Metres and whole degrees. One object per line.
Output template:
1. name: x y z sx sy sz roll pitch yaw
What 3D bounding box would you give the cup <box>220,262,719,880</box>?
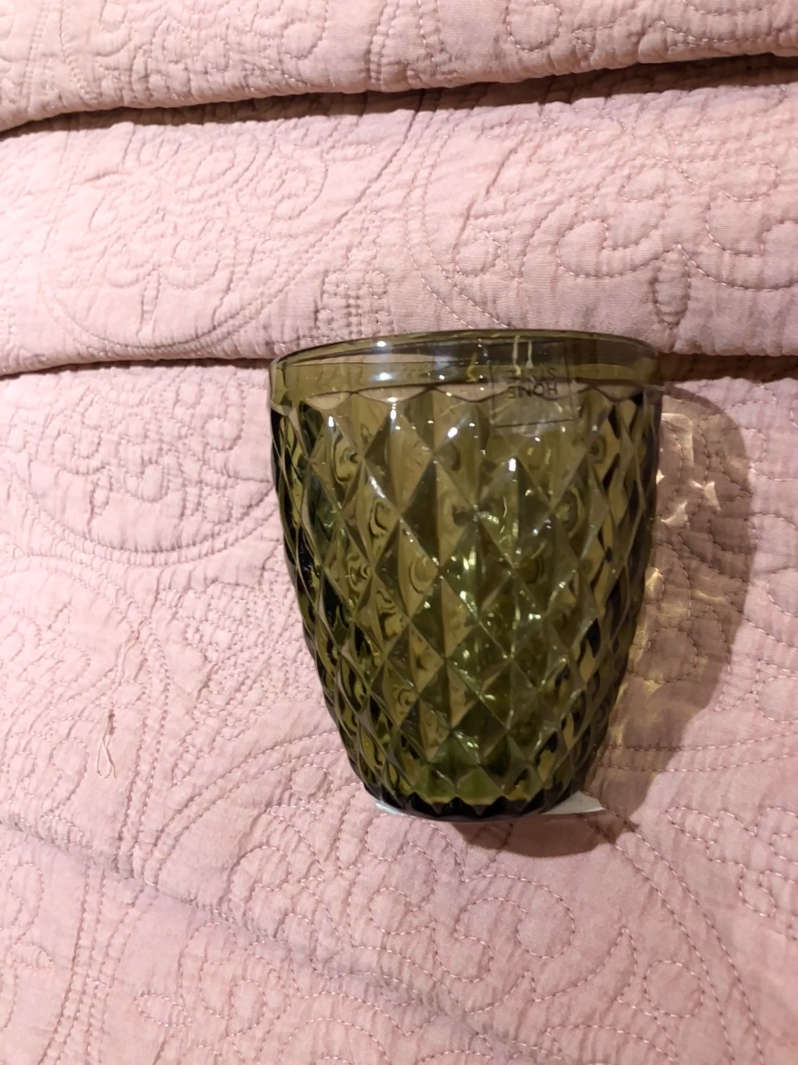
1. cup: 0.019 0.003 0.193 0.080 0.070 0.100 1 97 32
